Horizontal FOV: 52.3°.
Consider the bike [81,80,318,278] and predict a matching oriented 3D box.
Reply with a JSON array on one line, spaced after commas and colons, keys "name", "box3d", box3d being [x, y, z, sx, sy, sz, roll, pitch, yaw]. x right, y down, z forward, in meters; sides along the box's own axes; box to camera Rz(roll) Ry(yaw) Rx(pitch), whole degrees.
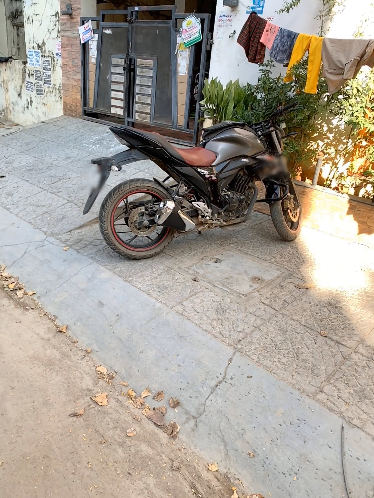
[{"name": "bike", "box3d": [0.058, -0.638, 2.973, 1.625, 1.140, 0.811, -10, 28, -29]}]
